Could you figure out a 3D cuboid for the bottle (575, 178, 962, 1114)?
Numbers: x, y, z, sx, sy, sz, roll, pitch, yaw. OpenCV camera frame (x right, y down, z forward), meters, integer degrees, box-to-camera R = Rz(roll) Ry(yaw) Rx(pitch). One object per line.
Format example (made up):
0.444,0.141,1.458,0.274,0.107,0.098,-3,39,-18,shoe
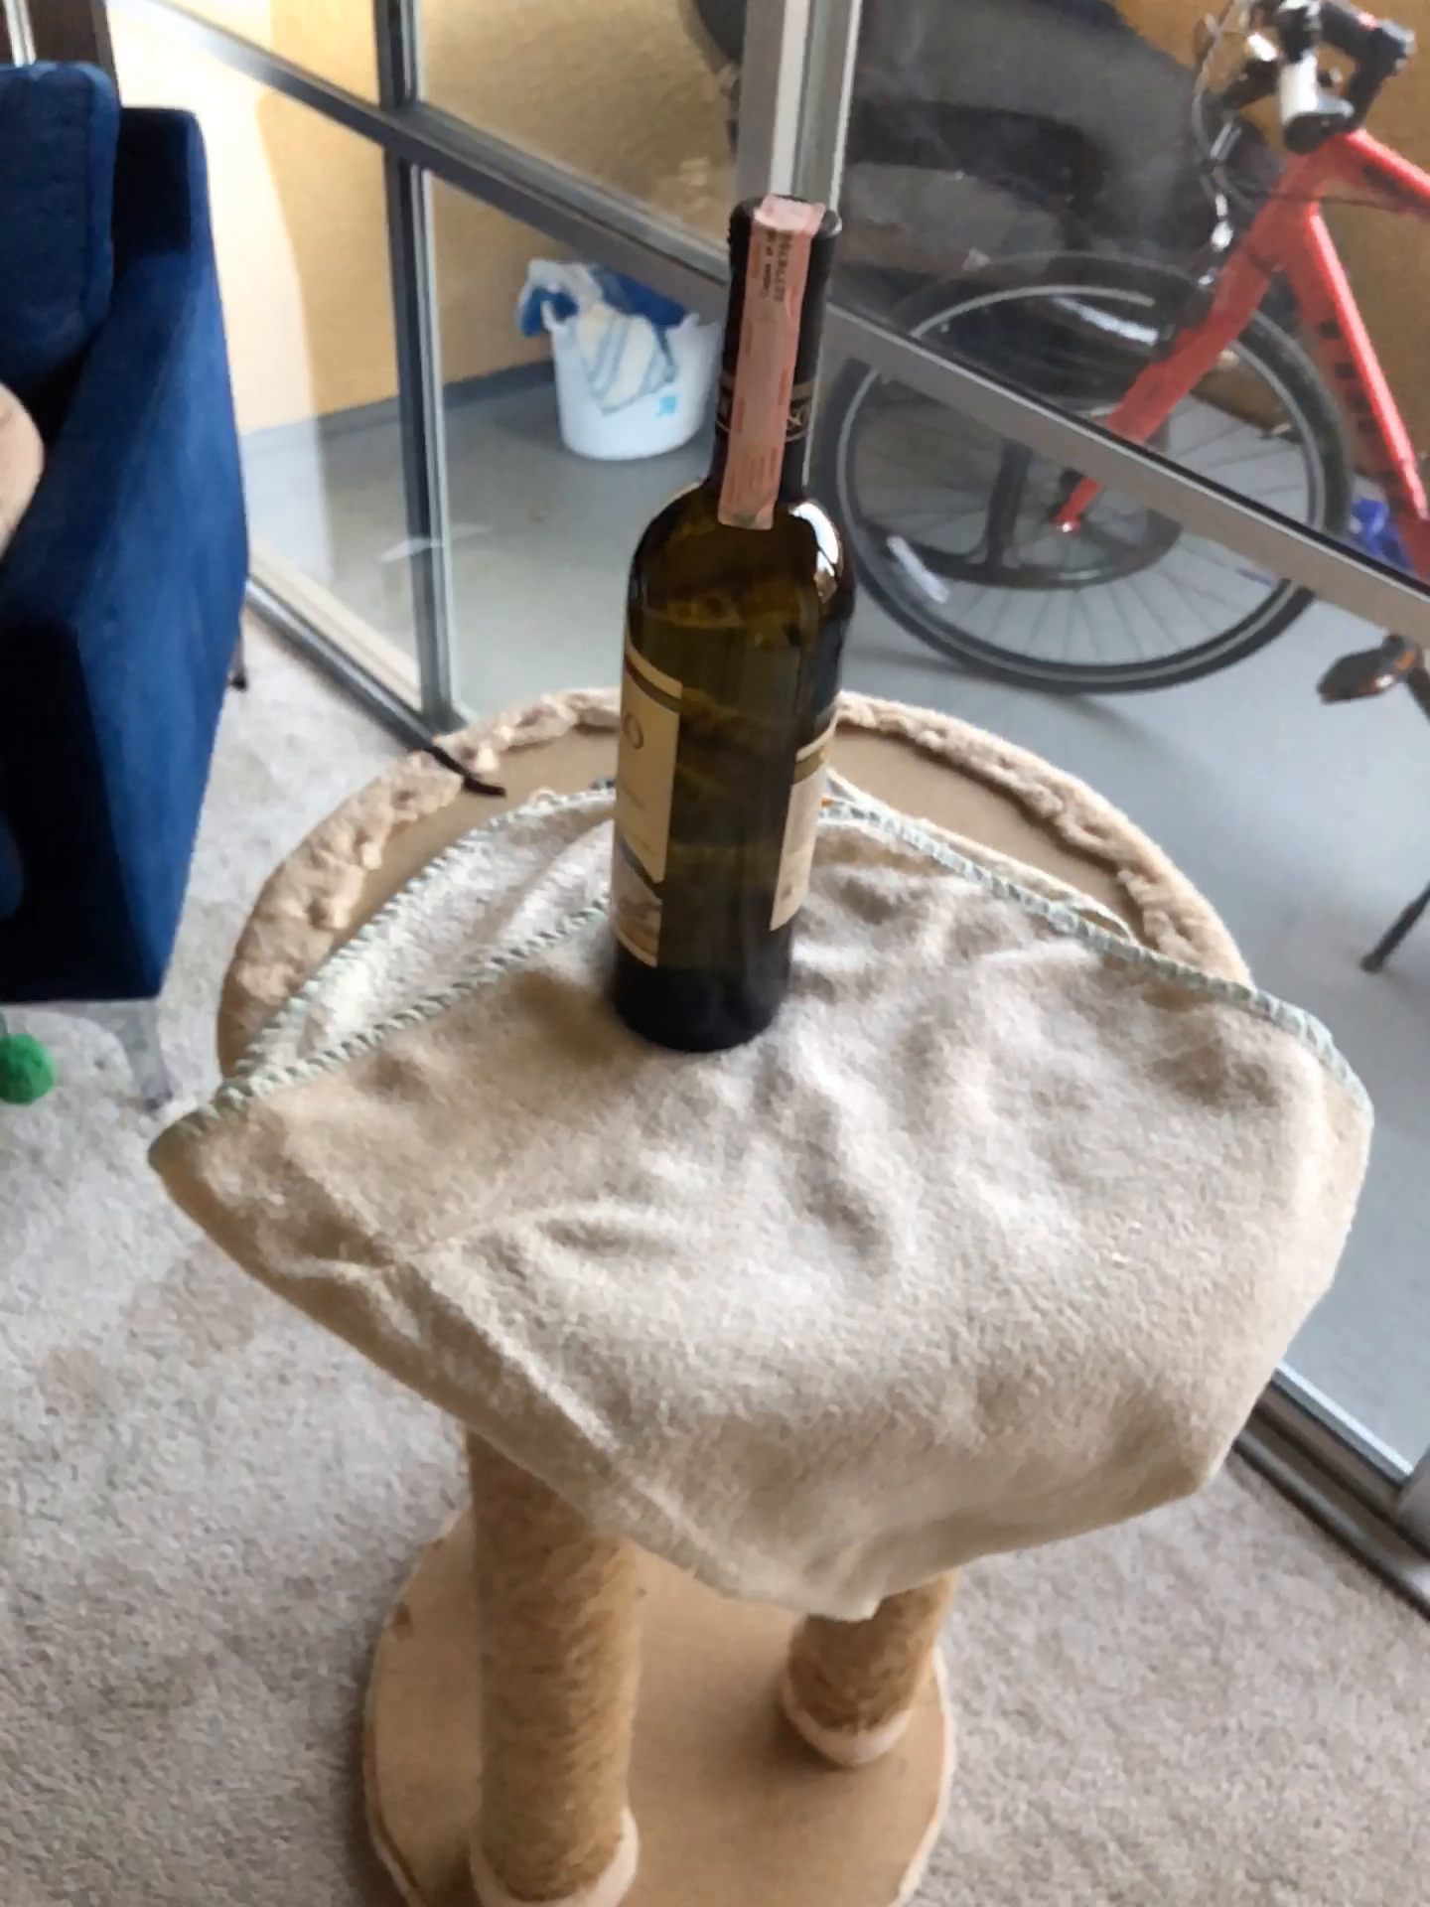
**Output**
0.008,-0.077,0.486,0.080,0.269,0.080,3,43,-3,bottle
